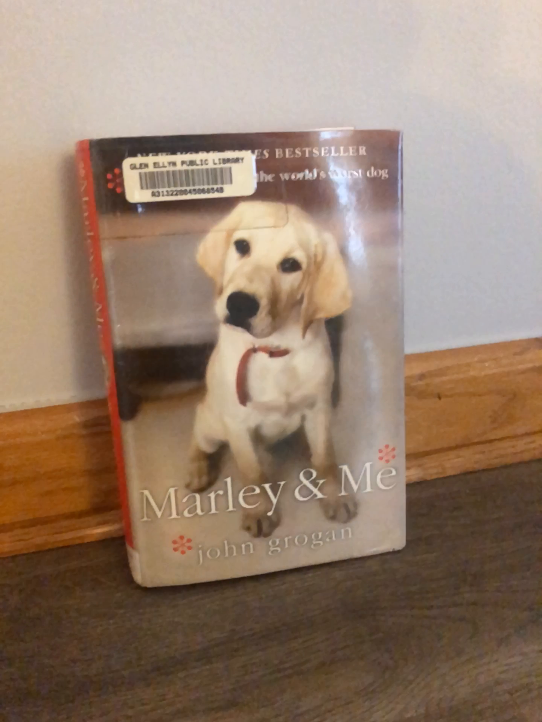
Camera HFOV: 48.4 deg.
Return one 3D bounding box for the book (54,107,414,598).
[{"bbox_3d":[-0.010,-0.003,0.302,0.151,0.219,0.040,-7,14,-9],"label":"book"}]
